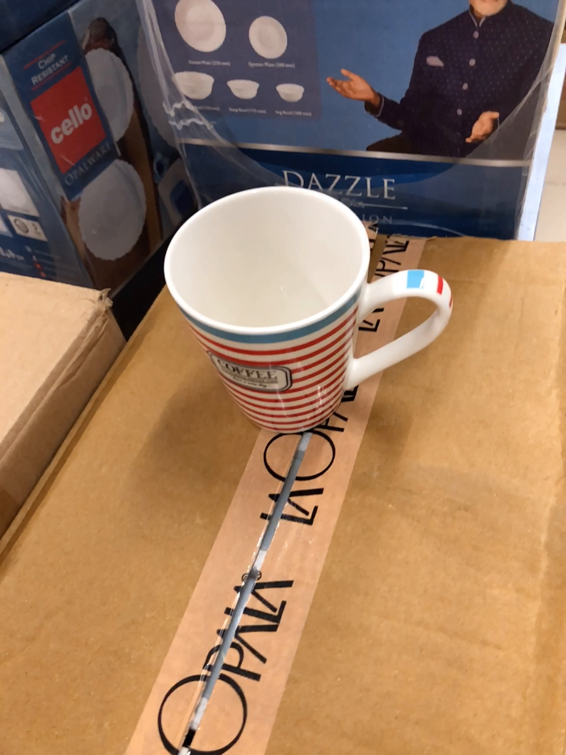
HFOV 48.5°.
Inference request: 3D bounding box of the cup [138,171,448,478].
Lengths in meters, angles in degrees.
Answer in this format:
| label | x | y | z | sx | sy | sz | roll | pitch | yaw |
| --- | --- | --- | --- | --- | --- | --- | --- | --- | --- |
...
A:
| label | x | y | z | sx | sy | sz | roll | pitch | yaw |
| --- | --- | --- | --- | --- | --- | --- | --- | --- | --- |
| cup | 0.014 | -0.023 | 0.286 | 0.110 | 0.099 | 0.091 | 2 | 50 | 11 |
